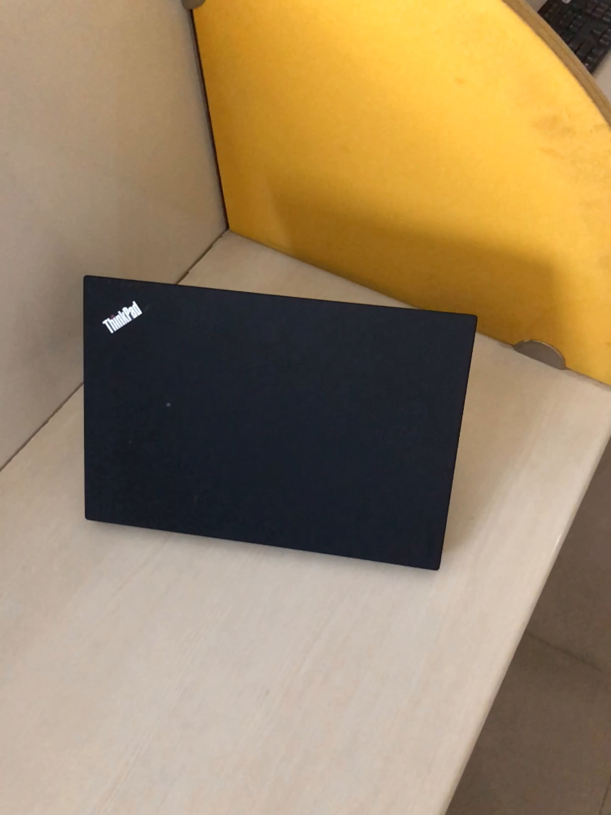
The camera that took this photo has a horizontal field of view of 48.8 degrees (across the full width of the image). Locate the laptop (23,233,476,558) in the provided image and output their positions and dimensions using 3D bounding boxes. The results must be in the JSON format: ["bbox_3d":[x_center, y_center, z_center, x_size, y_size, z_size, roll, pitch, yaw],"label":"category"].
[{"bbox_3d":[-0.032,-0.017,0.651,0.349,0.166,0.241,6,54,6],"label":"laptop"}]
